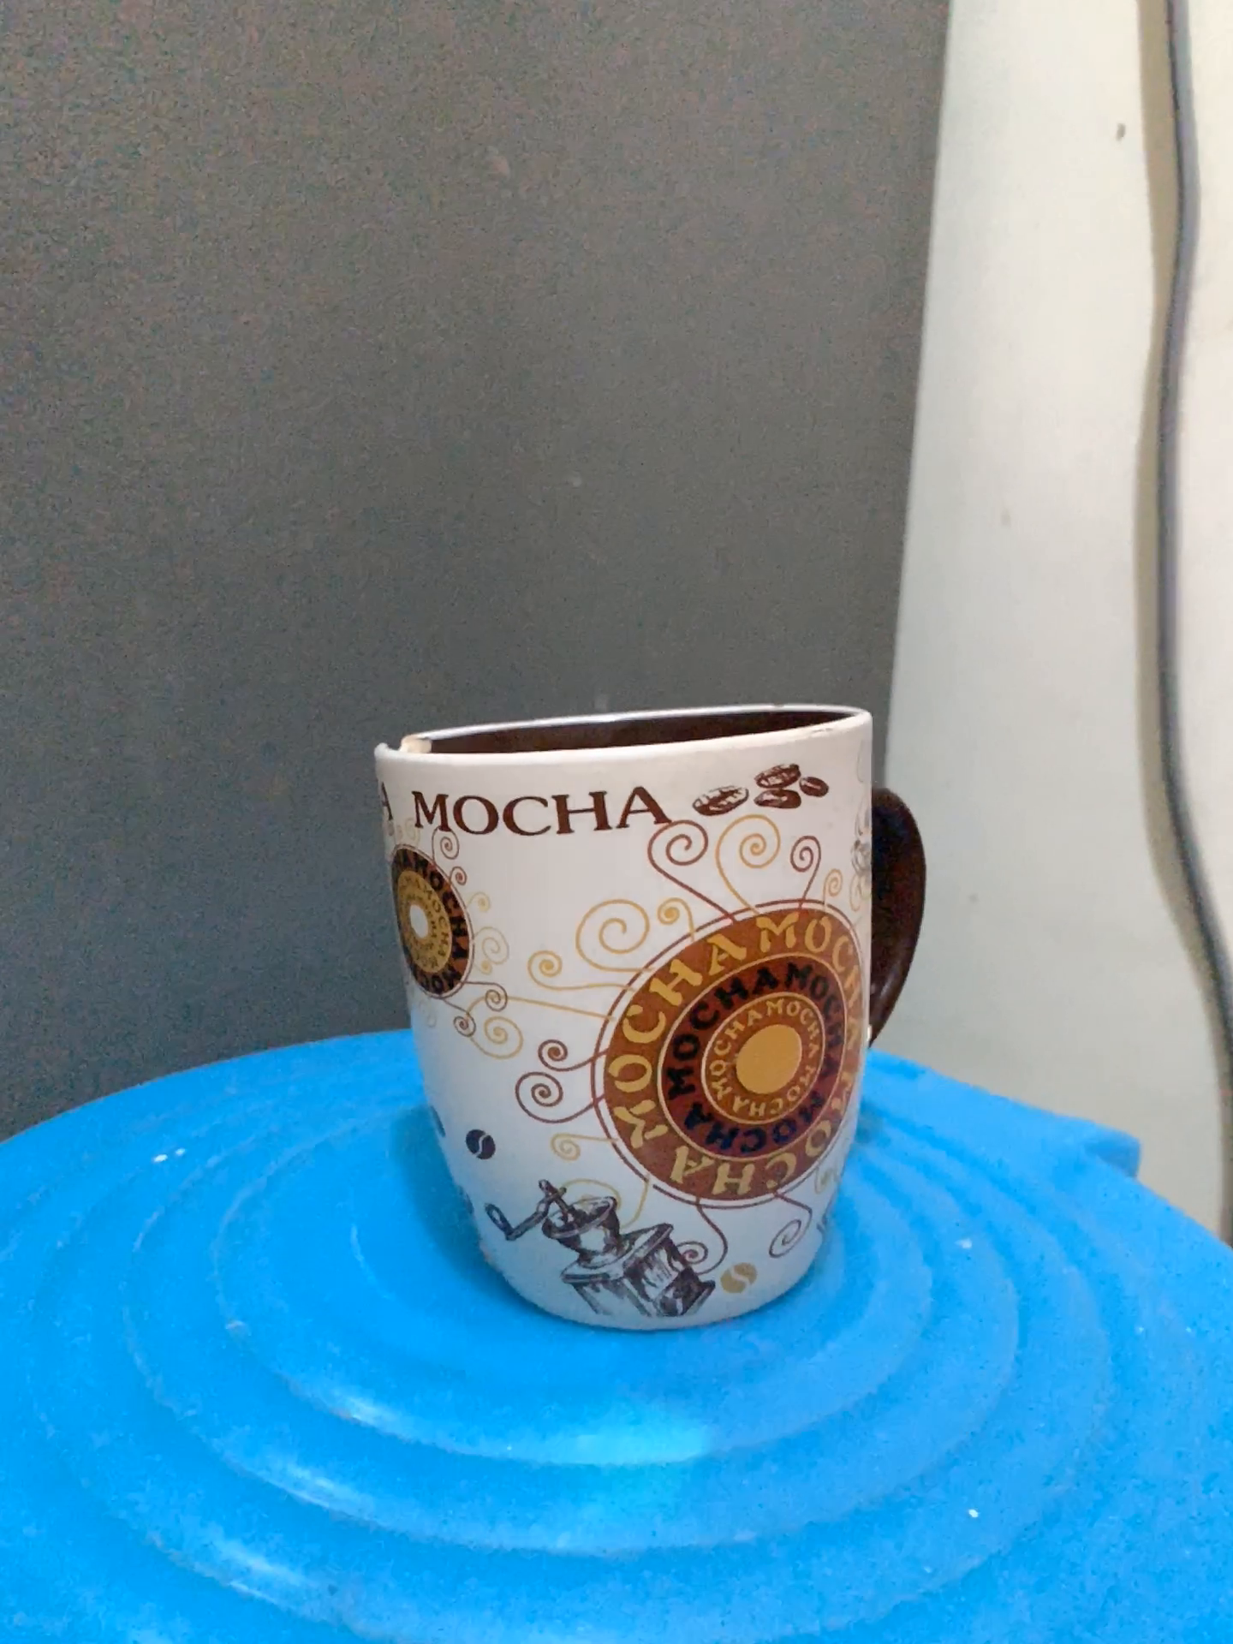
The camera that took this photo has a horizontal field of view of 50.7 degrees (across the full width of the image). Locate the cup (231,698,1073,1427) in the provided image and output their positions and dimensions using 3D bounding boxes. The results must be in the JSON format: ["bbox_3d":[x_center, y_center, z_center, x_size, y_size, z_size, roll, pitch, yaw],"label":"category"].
[{"bbox_3d":[0.007,0.023,0.216,0.110,0.080,0.080,-8,9,-33],"label":"cup"}]
